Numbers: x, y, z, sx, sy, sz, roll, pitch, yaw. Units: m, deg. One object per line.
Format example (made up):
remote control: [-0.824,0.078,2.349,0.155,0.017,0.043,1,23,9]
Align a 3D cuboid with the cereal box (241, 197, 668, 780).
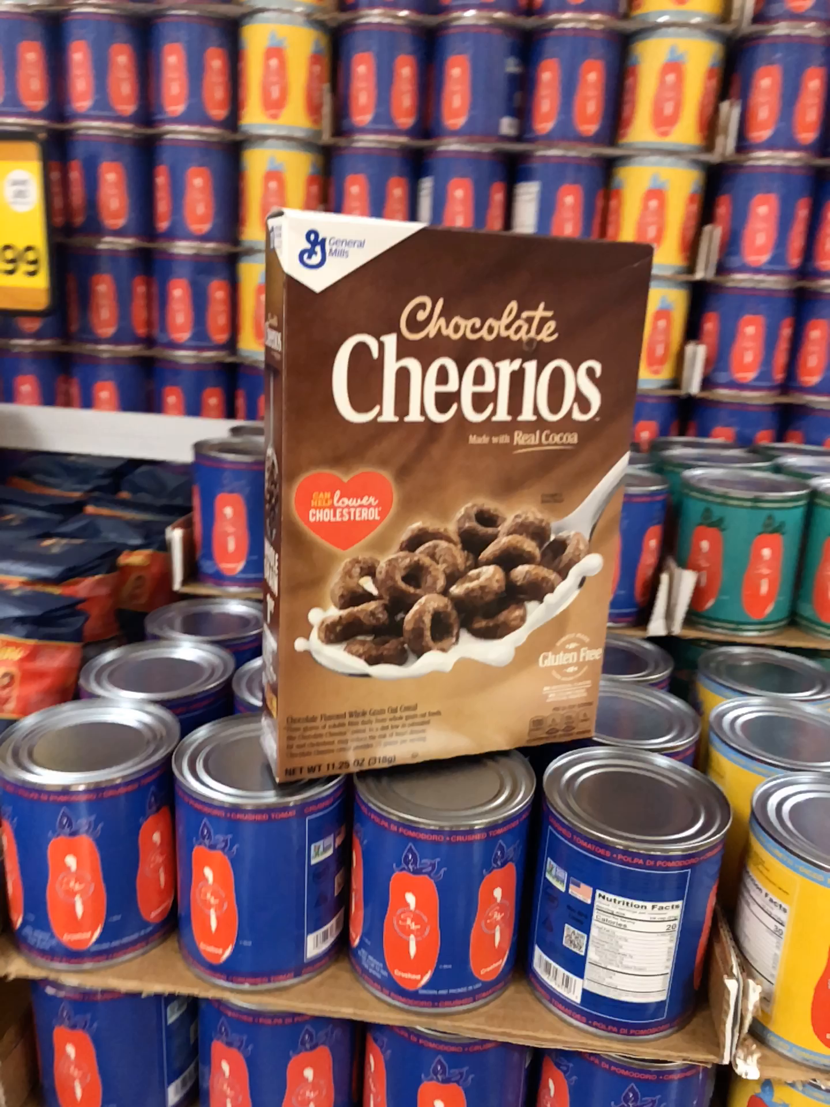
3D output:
cereal box: [0.017,-0.032,0.492,0.210,0.279,0.050,-3,17,-23]
